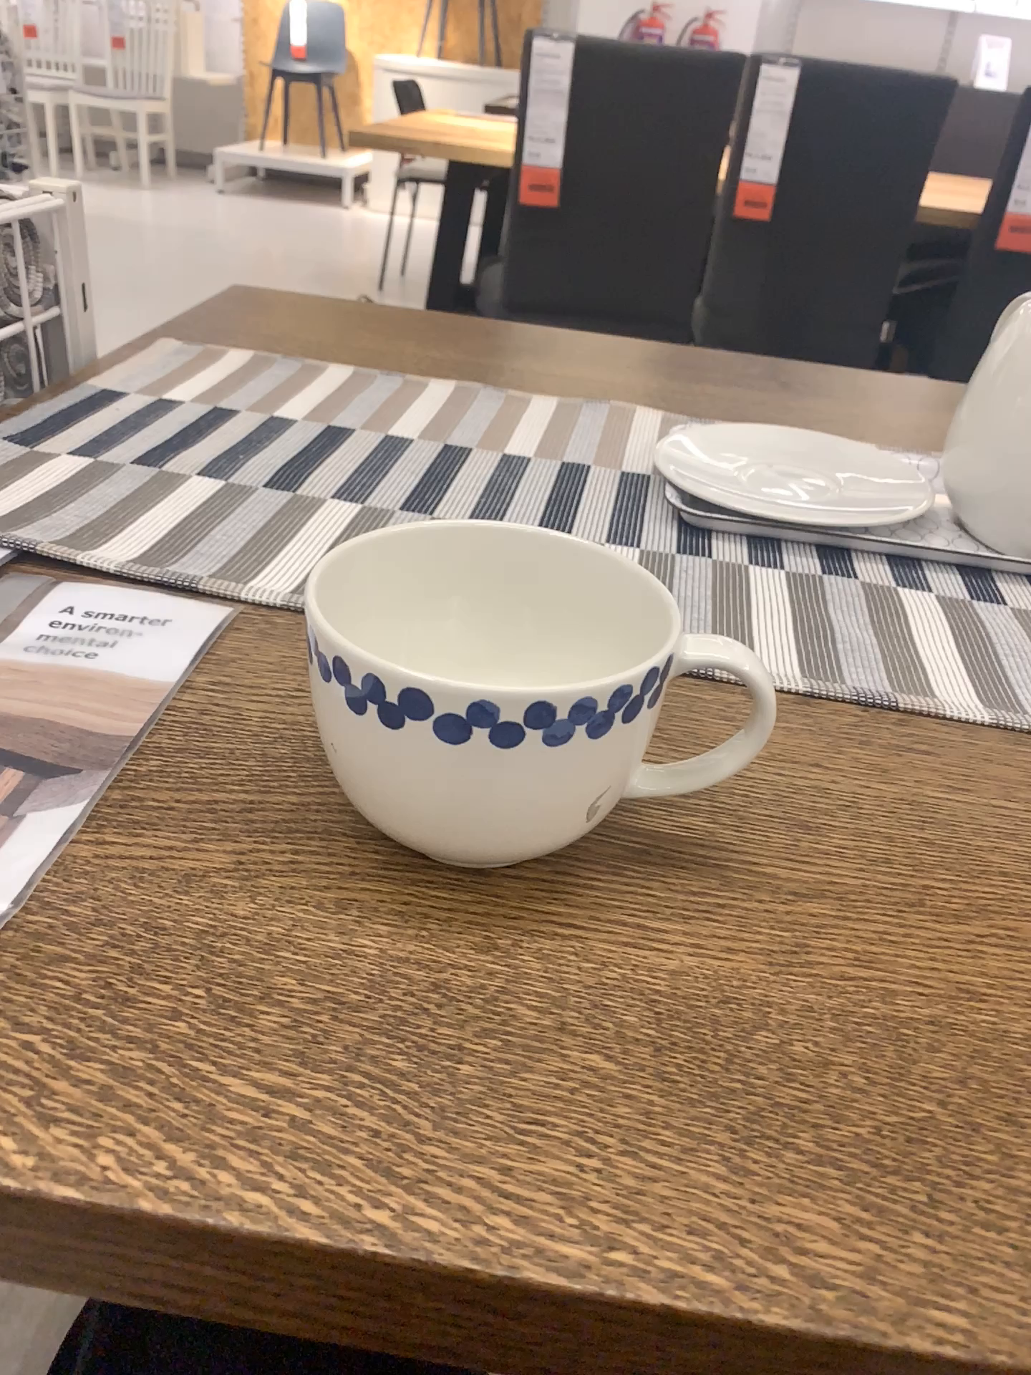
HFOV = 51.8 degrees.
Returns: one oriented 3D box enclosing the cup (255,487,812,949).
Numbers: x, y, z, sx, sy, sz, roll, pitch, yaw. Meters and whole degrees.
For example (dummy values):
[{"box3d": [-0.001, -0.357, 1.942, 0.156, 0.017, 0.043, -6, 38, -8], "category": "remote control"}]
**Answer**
[{"box3d": [0.006, 0.002, 0.305, 0.130, 0.070, 0.100, 9, 31, 4], "category": "cup"}]
